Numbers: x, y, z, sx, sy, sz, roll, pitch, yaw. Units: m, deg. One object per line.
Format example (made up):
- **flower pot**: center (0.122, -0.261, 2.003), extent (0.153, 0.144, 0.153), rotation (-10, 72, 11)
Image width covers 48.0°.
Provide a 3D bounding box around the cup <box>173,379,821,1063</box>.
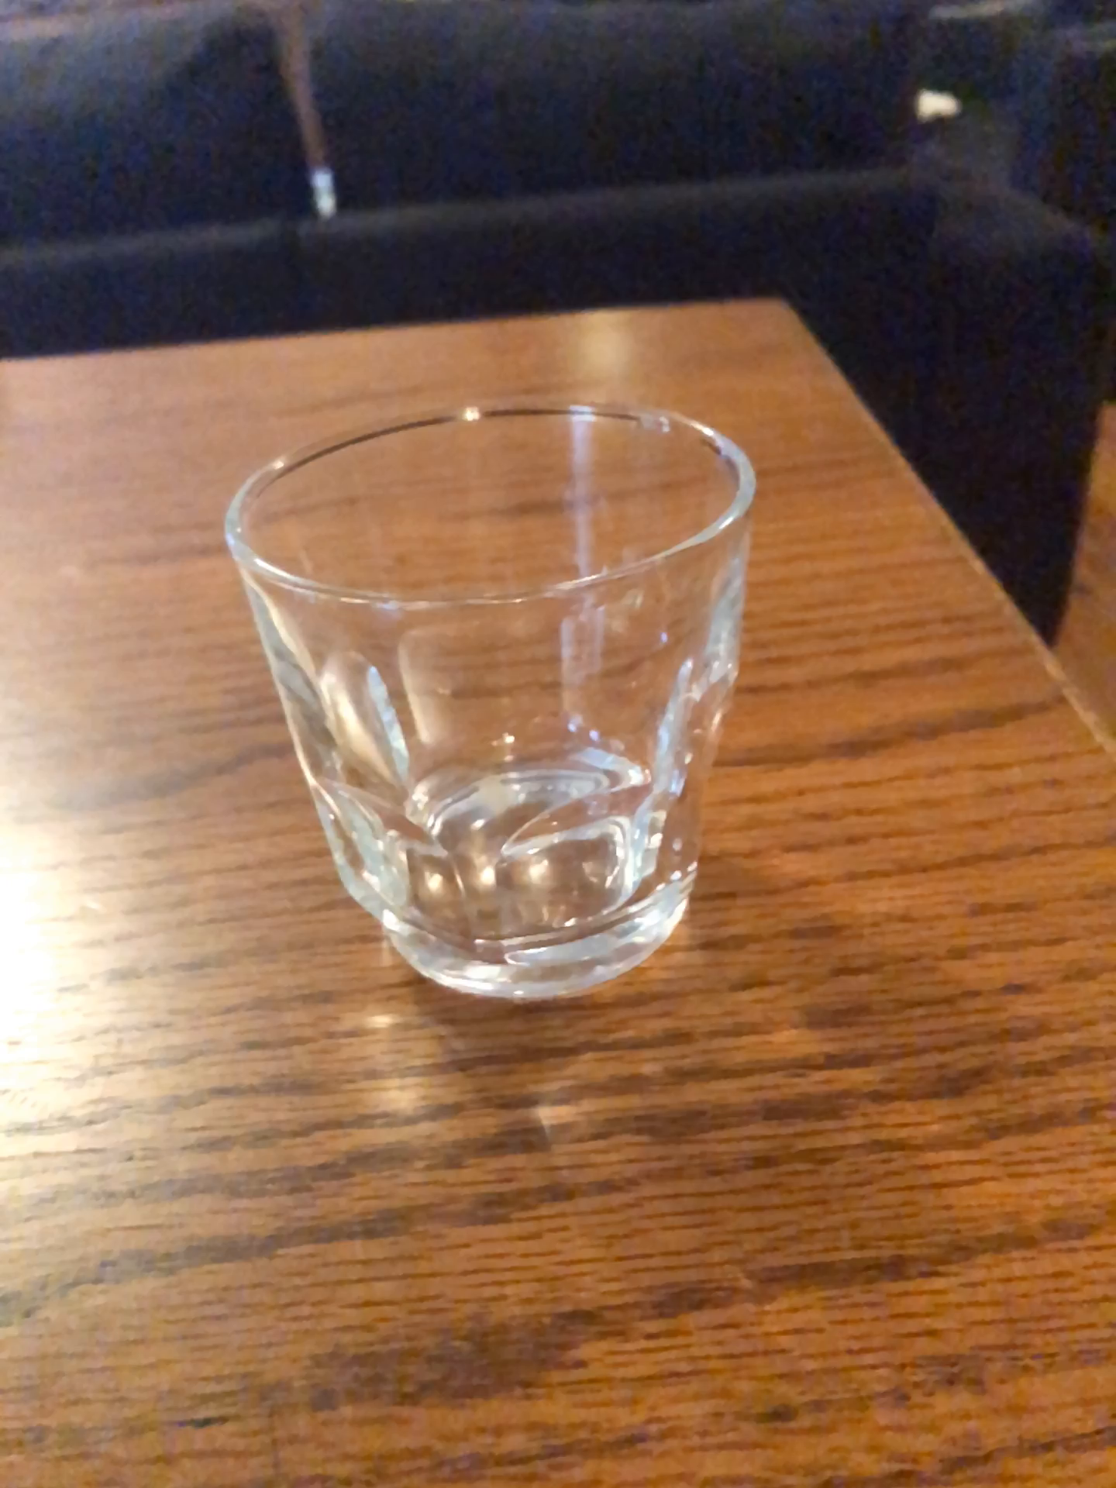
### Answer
- **cup**: center (-0.012, -0.010, 0.209), extent (0.082, 0.069, 0.083), rotation (-4, 33, 2)
